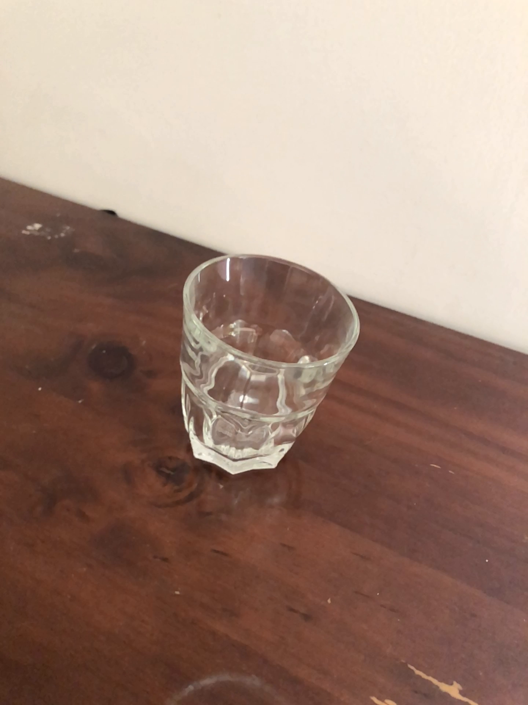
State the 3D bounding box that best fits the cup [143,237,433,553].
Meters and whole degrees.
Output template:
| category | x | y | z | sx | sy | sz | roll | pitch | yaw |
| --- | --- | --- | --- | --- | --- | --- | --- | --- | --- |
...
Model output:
| category | x | y | z | sx | sy | sz | roll | pitch | yaw |
| --- | --- | --- | --- | --- | --- | --- | --- | --- | --- |
| cup | 0.003 | 0.013 | 0.290 | 0.090 | 0.095 | 0.100 | -14 | 40 | -30 |
